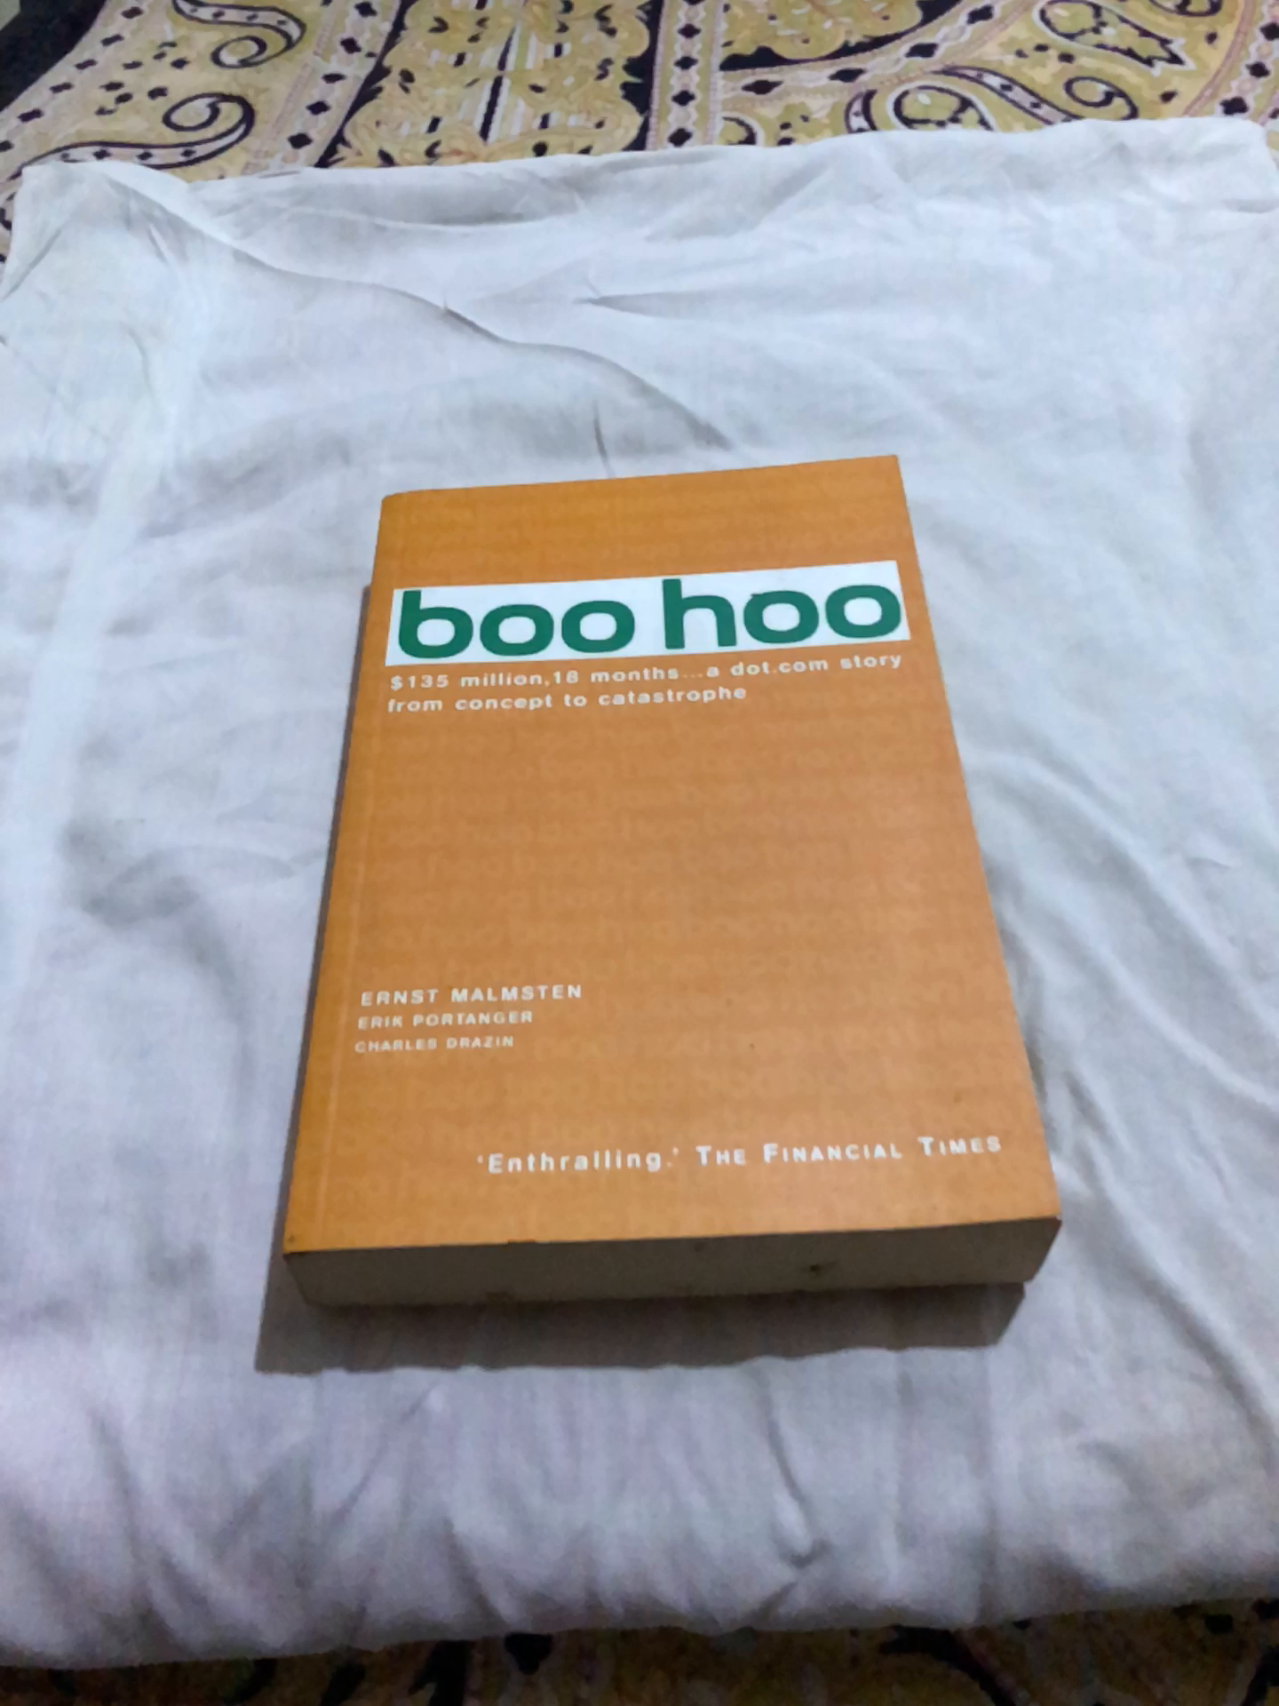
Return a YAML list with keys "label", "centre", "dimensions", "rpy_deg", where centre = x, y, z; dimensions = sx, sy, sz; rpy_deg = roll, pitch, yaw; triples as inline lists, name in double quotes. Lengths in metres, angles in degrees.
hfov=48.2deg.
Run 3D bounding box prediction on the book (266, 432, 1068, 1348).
- label: "book"
  centre: [0.002, -0.005, 0.307]
  dimensions: [0.130, 0.040, 0.200]
  rpy_deg: [-5, 53, 3]
